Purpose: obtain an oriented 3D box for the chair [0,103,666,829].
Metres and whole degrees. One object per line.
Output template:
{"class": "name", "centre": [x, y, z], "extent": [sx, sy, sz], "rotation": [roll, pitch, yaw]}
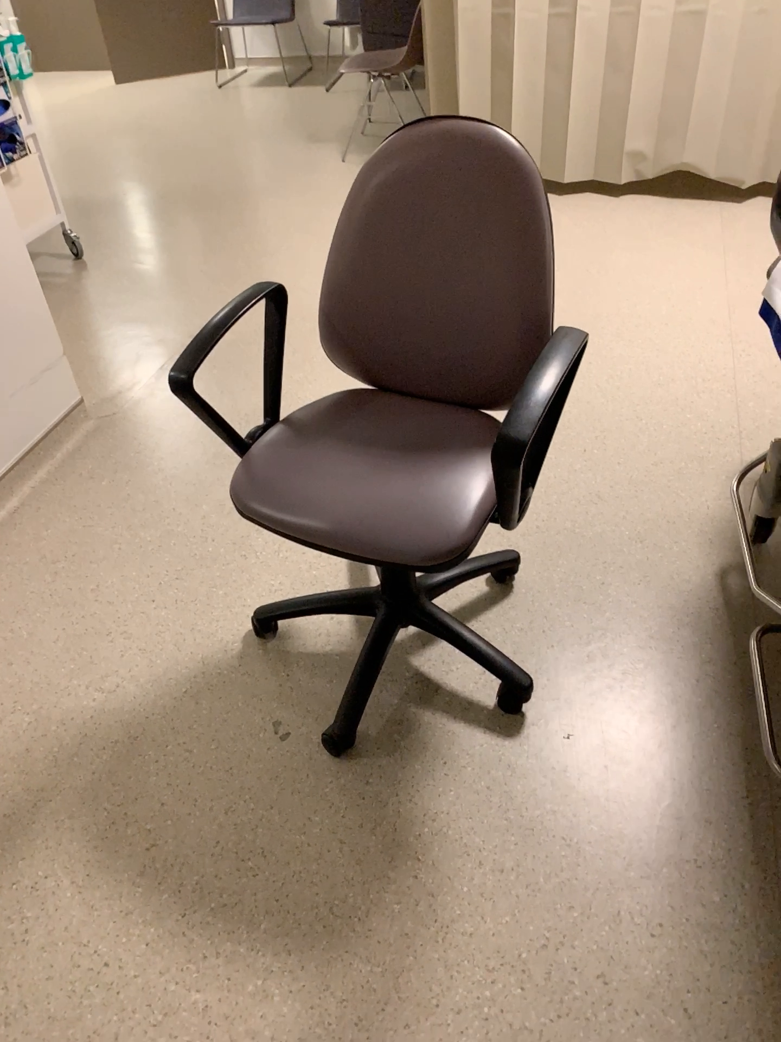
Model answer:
{"class": "chair", "centre": [-0.009, -0.136, 1.376], "extent": [0.652, 0.881, 0.715], "rotation": [16, 44, 24]}
